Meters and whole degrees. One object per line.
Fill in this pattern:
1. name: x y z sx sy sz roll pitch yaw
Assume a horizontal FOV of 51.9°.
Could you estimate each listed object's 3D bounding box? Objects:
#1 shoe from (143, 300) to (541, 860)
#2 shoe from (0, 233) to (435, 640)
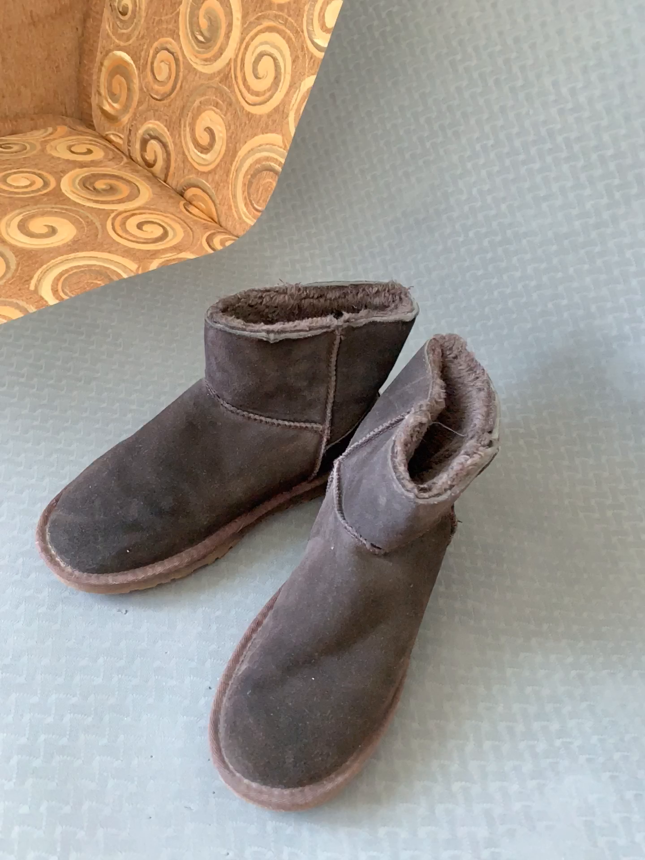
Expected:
1. shoe: 0.021 0.070 0.369 0.100 0.139 0.254 23 51 10
2. shoe: -0.070 -0.005 0.419 0.253 0.139 0.100 -27 60 -27
